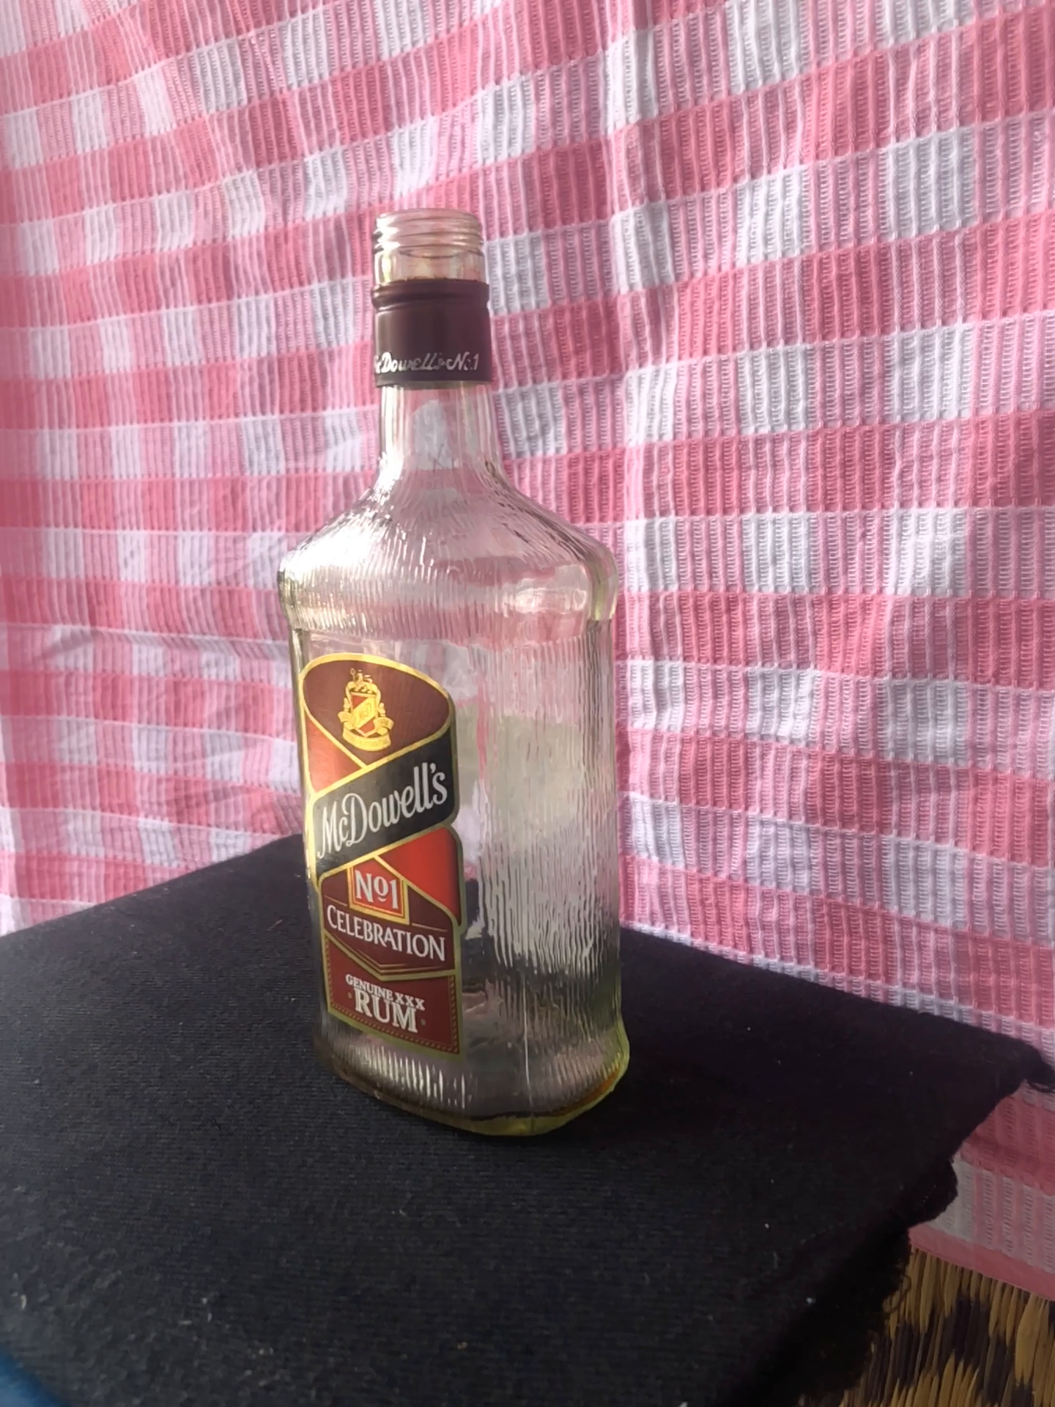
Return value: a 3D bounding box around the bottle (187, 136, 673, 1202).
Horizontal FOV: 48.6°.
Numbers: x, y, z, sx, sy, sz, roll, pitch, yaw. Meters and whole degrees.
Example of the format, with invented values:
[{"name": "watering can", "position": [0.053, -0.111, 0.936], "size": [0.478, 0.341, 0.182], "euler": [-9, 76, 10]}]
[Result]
[{"name": "bottle", "position": [-0.022, -0.007, 0.310], "size": [0.100, 0.239, 0.060], "euler": [7, 16, 36]}]
